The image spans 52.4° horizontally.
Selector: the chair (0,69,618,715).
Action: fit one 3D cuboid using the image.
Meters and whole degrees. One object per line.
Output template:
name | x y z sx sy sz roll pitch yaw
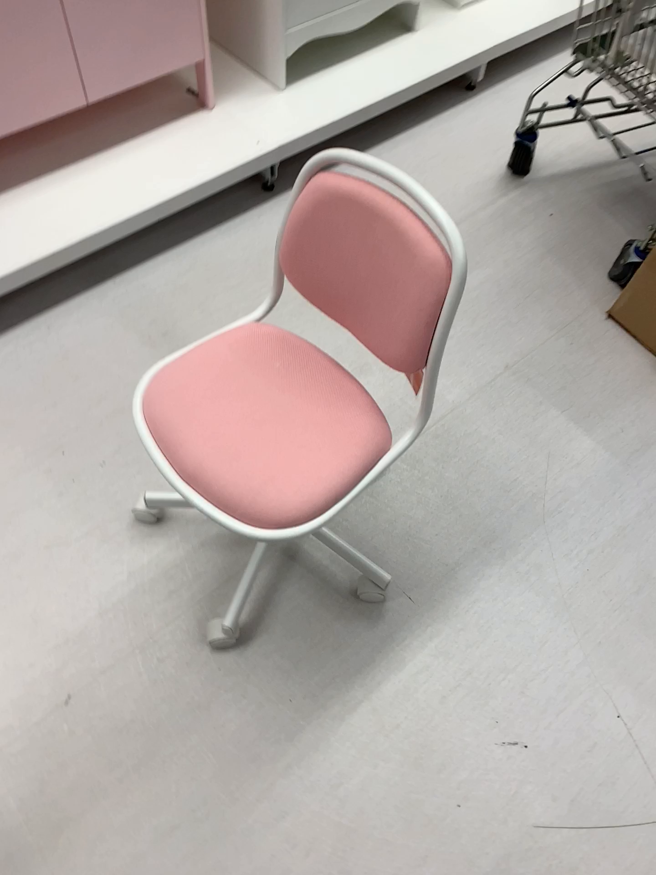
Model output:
chair | -0.066 -0.030 1.069 0.530 0.698 0.561 -37 67 -23
